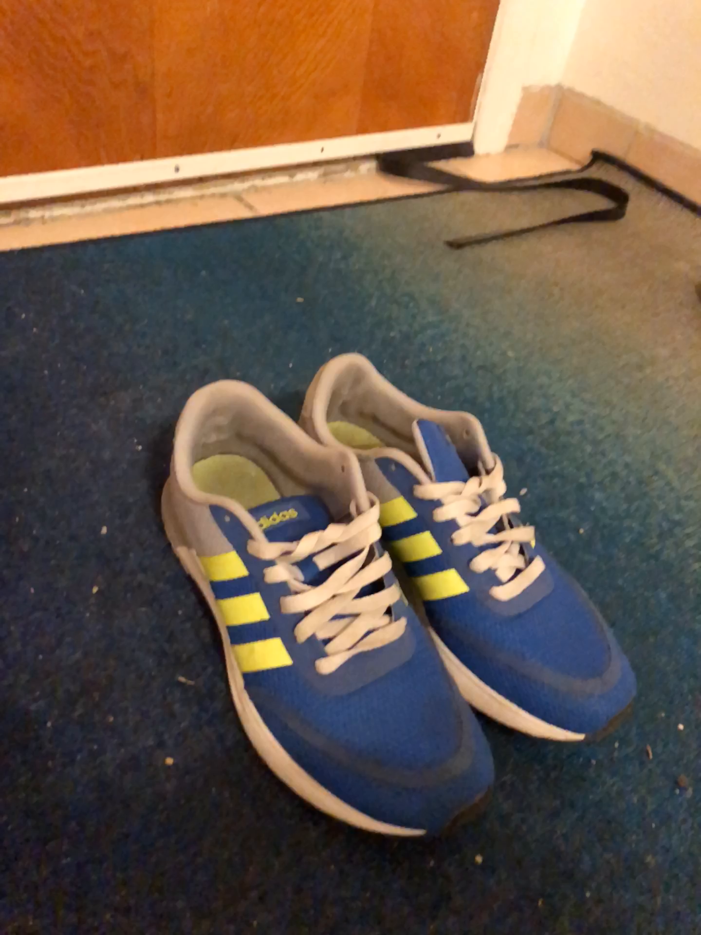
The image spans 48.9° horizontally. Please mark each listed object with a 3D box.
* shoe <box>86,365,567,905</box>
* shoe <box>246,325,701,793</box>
[{"bbox_3d":[-0.032,0.064,0.410,0.110,0.089,0.261,-21,50,-31],"label":"shoe"},{"bbox_3d":[0.055,0.031,0.449,0.110,0.089,0.261,-21,50,-31],"label":"shoe"}]
